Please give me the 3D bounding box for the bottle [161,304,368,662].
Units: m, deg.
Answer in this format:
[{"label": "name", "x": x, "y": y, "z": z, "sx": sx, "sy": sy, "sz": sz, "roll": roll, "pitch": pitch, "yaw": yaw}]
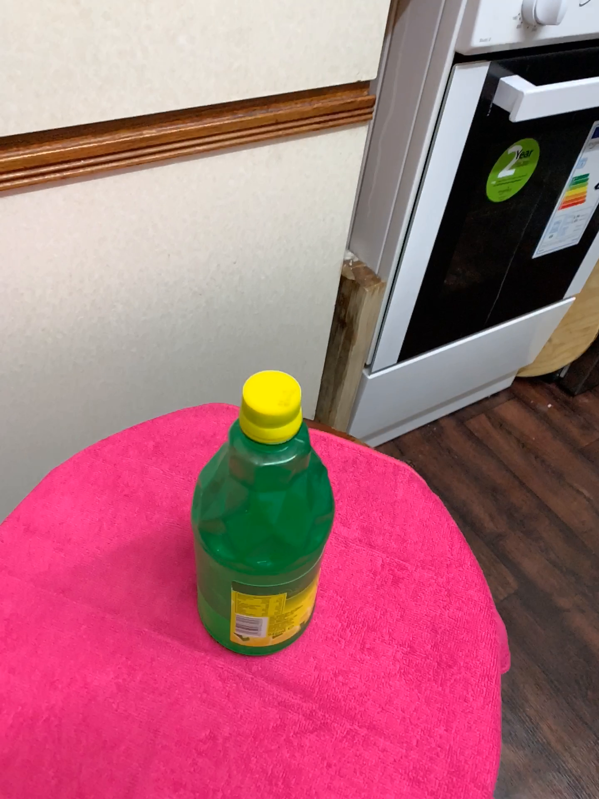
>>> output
[{"label": "bottle", "x": -0.023, "y": 0.067, "z": 0.383, "sx": 0.090, "sy": 0.228, "sz": 0.101, "roll": 7, "pitch": 47, "yaw": -2}]
